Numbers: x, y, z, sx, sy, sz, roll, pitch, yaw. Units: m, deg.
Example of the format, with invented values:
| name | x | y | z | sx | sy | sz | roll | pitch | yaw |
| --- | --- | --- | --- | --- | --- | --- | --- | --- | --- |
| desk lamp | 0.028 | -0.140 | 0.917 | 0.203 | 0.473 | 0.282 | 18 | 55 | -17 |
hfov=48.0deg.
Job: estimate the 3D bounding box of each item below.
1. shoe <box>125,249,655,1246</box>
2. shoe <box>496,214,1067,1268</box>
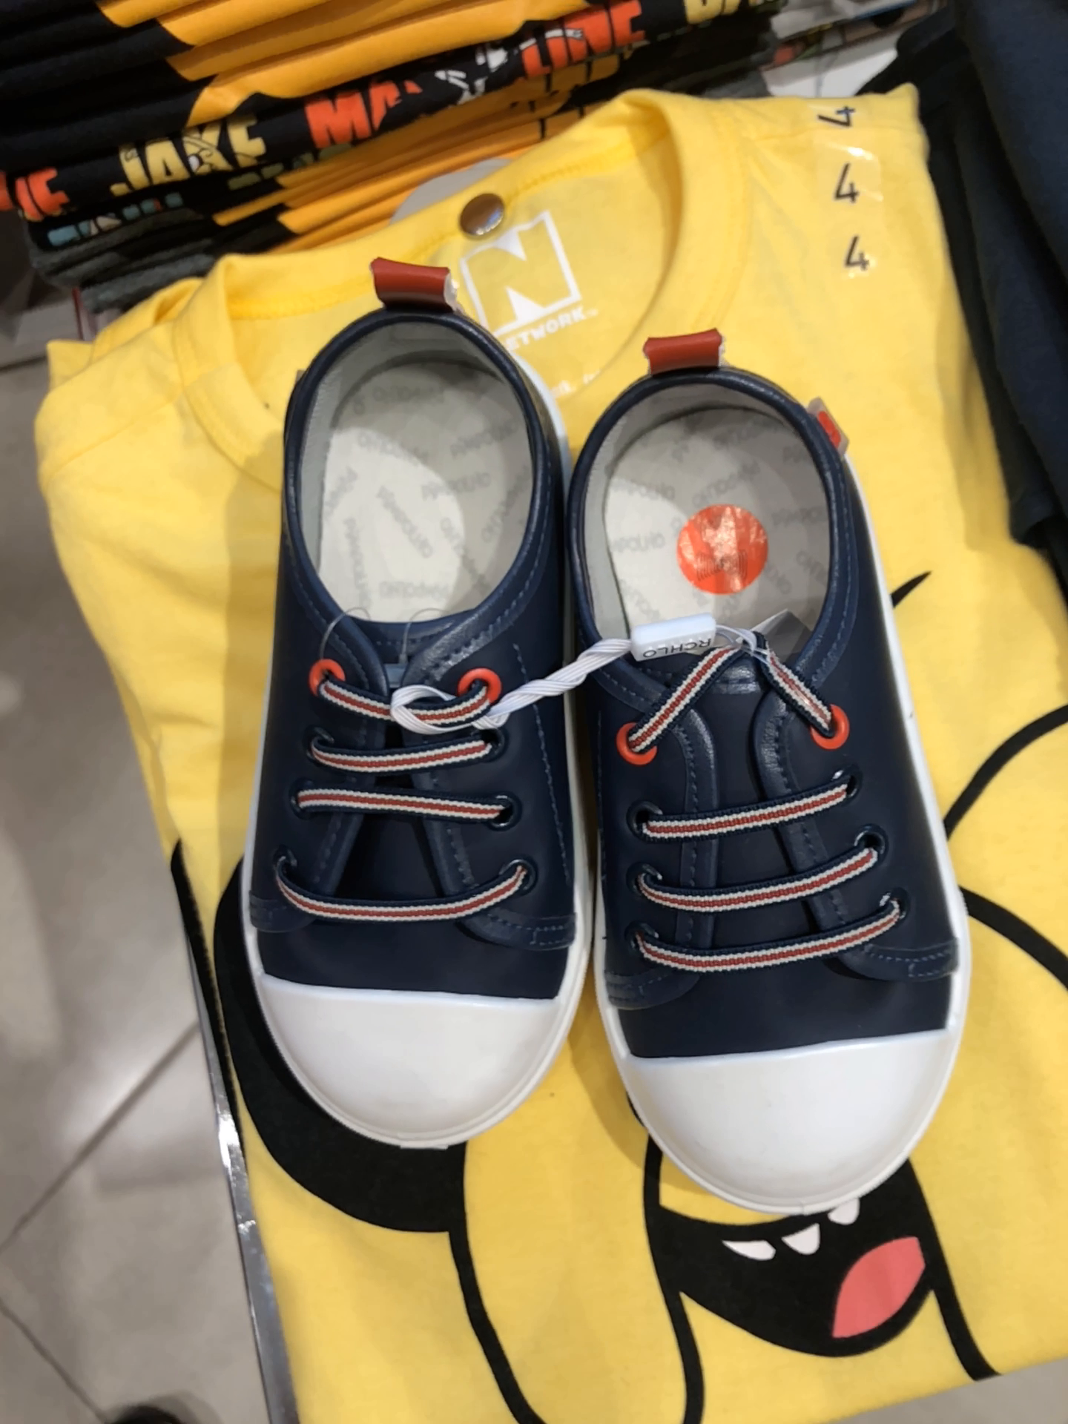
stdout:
| name | x | y | z | sx | sy | sz | roll | pitch | yaw |
| --- | --- | --- | --- | --- | --- | --- | --- | --- | --- |
| shoe | -0.022 | 0.004 | 0.232 | 0.080 | 0.070 | 0.160 | 3 | 91 | 8 |
| shoe | 0.047 | 0.006 | 0.237 | 0.080 | 0.070 | 0.170 | -7 | 90 | 6 |
